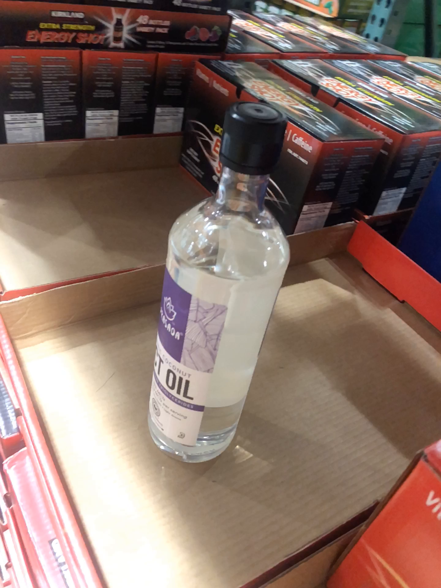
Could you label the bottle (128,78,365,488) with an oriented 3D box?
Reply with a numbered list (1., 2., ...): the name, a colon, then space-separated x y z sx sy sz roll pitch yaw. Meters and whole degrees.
1. bottle: -0.005 0.012 0.341 0.080 0.290 0.078 8 39 -6
